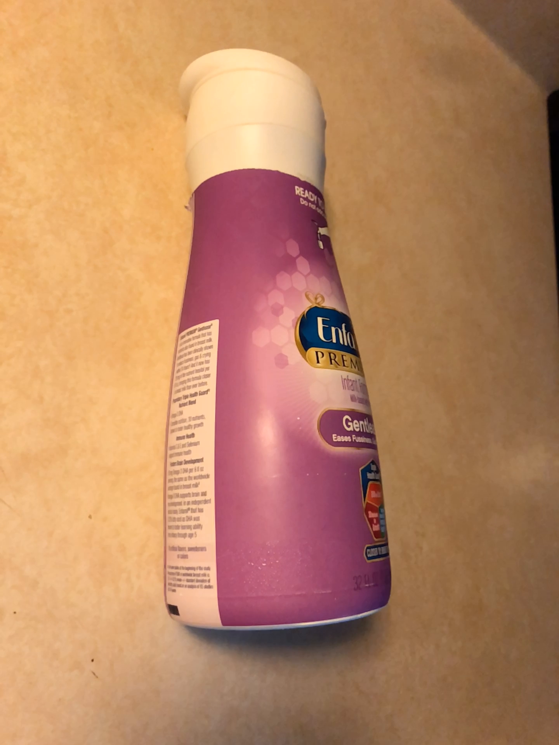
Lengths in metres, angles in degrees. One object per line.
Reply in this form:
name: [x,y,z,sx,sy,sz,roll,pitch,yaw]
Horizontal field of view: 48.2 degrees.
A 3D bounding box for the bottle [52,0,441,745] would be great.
bottle: [-0.009,-0.007,0.261,0.091,0.100,0.280,27,57,-53]
